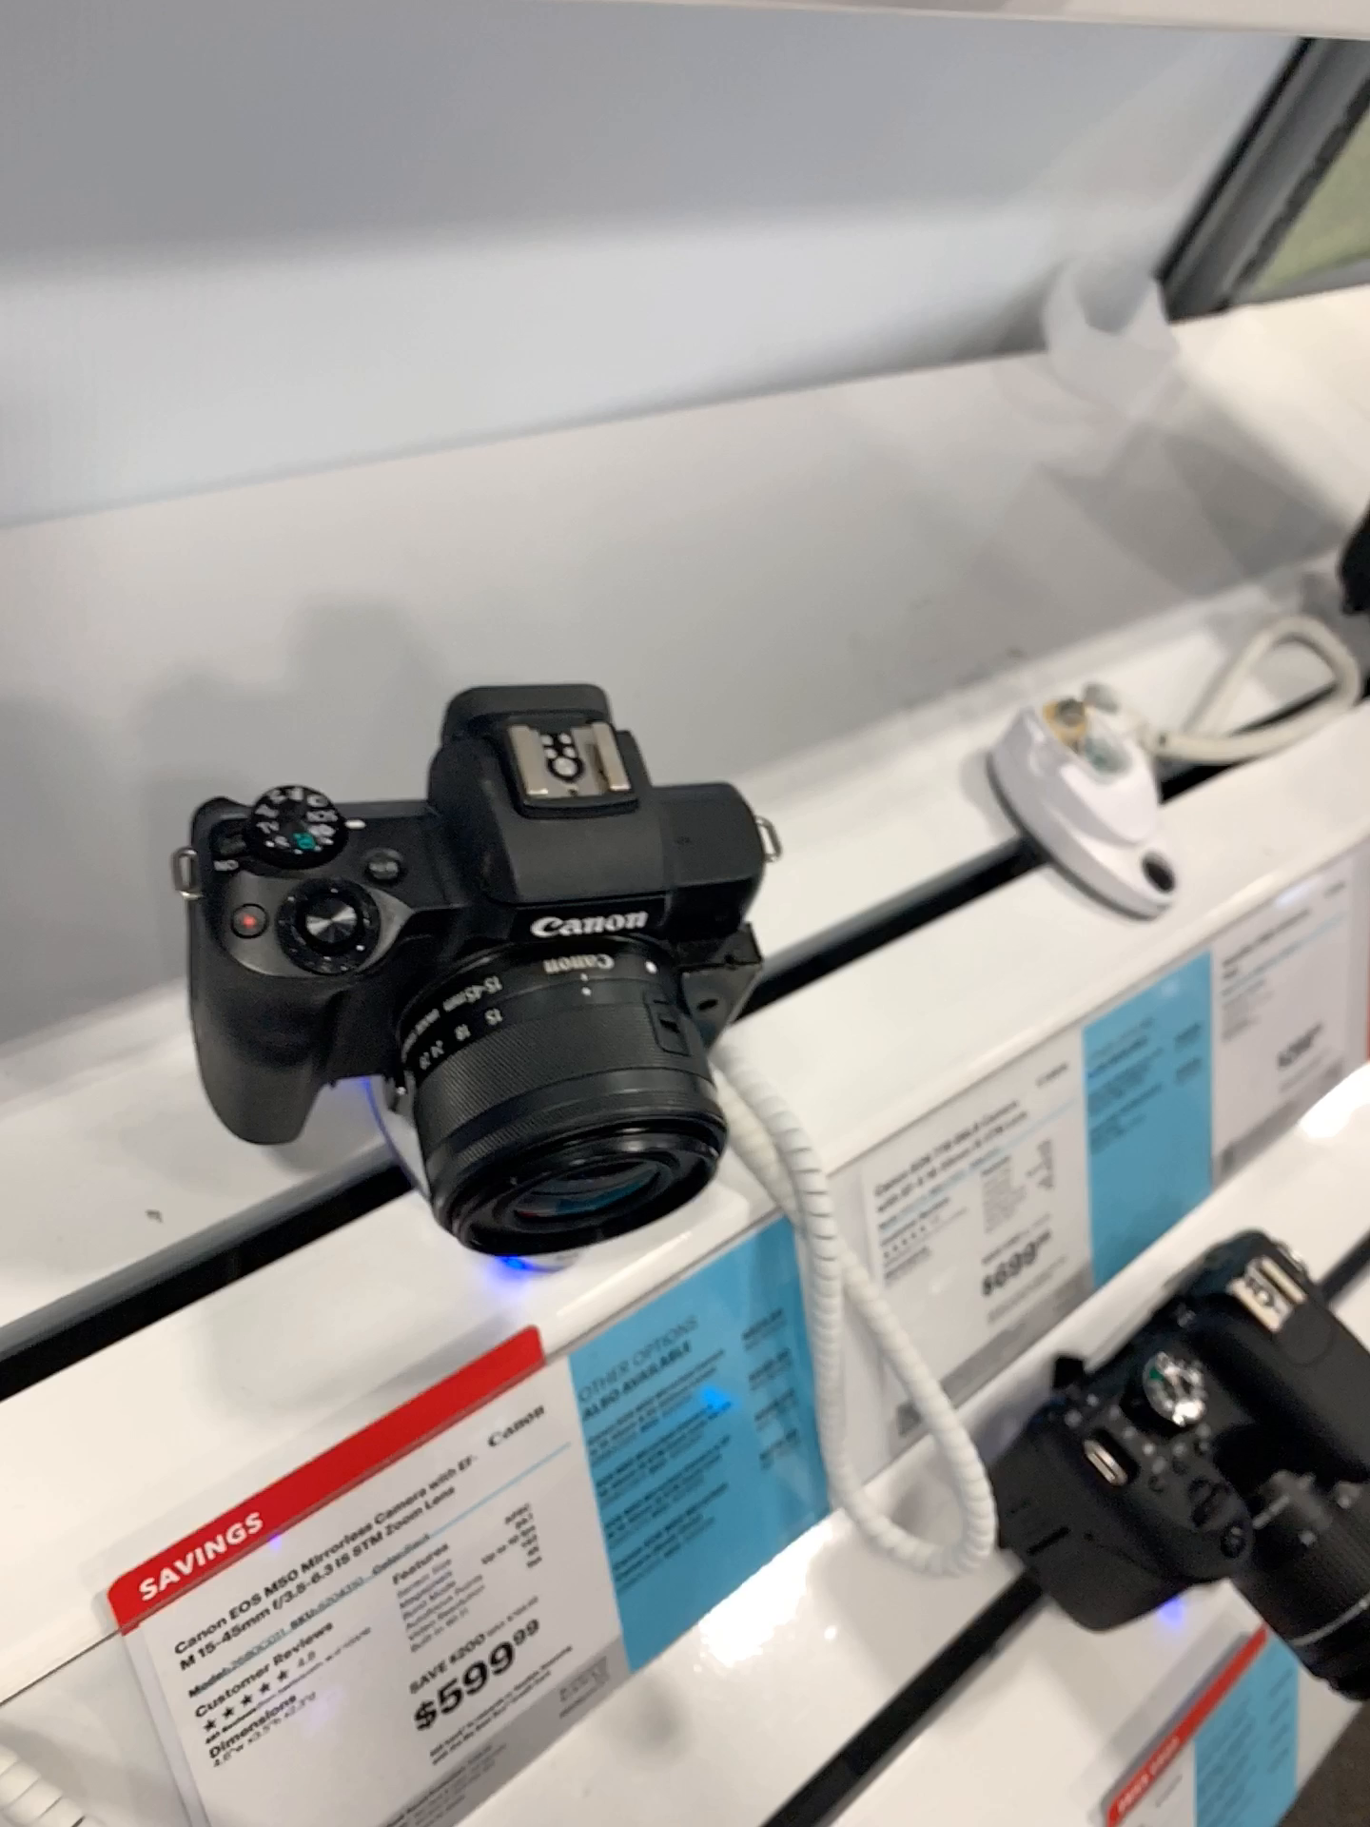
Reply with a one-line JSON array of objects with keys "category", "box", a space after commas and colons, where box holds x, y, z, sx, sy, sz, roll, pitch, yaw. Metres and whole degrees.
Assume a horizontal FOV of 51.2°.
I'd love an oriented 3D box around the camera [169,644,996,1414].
[{"category": "camera", "box": [-0.029, 0.017, 0.287, 0.121, 0.080, 0.110, -8, 59, -27]}]
